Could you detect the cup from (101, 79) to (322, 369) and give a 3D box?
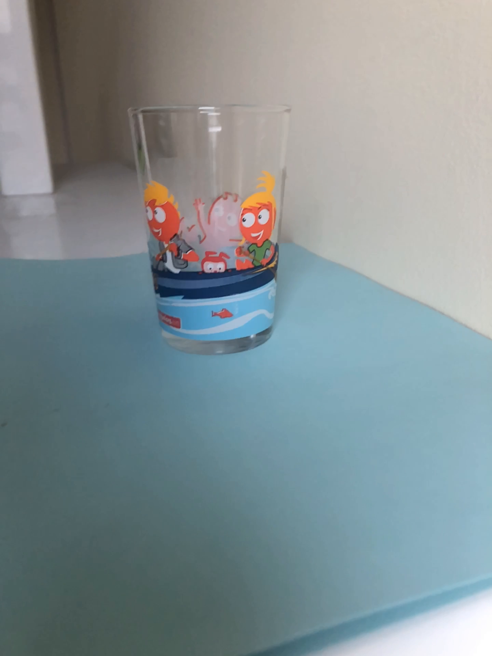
[{"bbox_3d":[-0.012,-0.046,0.228,0.060,0.100,0.060,-1,21,0],"label":"cup"}]
